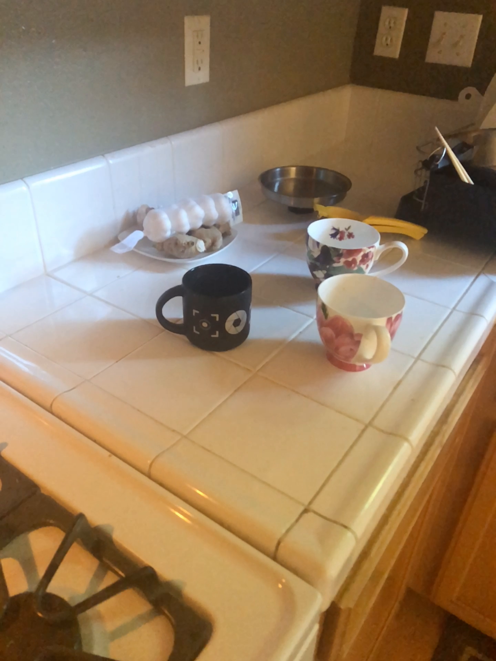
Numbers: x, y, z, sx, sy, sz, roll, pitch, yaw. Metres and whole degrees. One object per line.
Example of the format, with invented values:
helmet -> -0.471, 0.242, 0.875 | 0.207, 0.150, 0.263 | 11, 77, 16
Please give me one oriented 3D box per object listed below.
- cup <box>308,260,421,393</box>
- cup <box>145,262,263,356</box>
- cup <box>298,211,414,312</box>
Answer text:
cup -> 0.135, -0.010, 0.661 | 0.110, 0.079, 0.151 | 6, 35, 5
cup -> -0.054, -0.030, 0.715 | 0.140, 0.069, 0.111 | 2, 35, -1
cup -> 0.165, -0.108, 0.828 | 0.150, 0.089, 0.111 | 12, 35, 12
